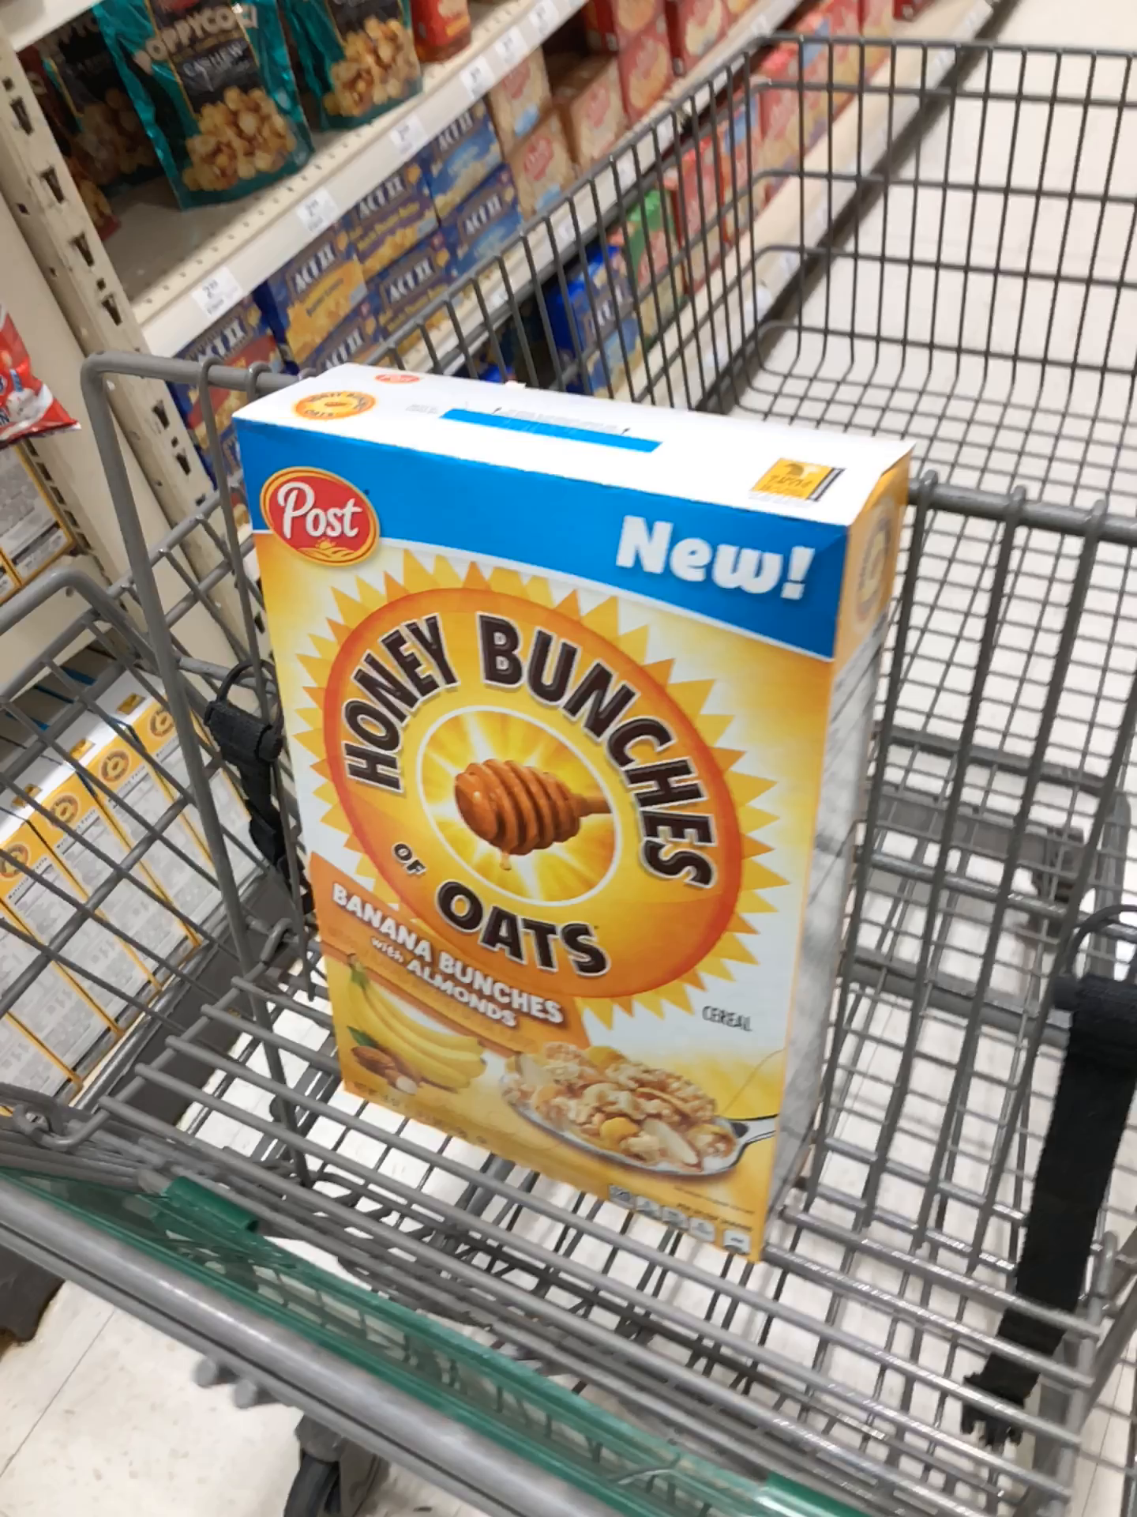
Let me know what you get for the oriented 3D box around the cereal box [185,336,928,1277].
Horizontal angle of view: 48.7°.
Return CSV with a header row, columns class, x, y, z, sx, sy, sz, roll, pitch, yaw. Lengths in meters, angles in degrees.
class,x,y,z,sx,sy,sz,roll,pitch,yaw
cereal box,-0.006,0.026,0.433,0.200,0.299,0.060,15,38,22
